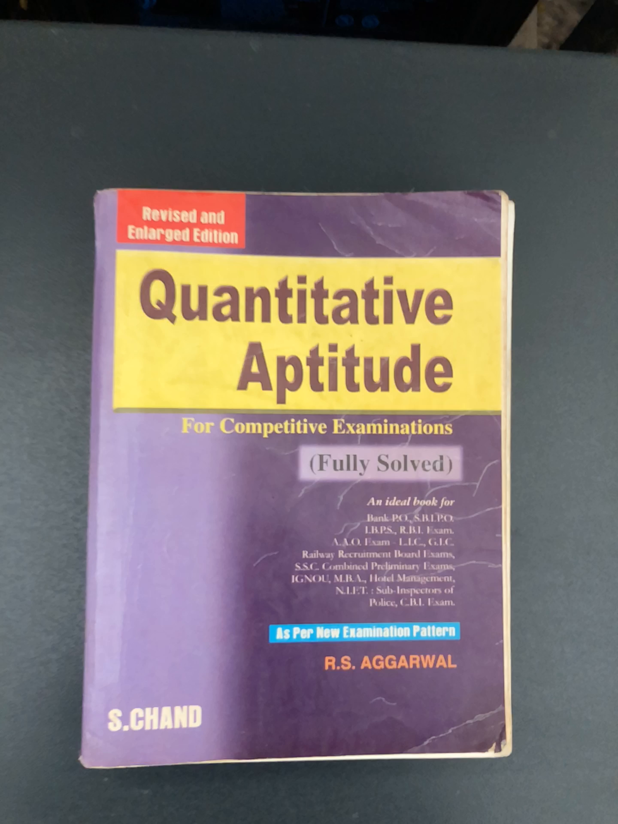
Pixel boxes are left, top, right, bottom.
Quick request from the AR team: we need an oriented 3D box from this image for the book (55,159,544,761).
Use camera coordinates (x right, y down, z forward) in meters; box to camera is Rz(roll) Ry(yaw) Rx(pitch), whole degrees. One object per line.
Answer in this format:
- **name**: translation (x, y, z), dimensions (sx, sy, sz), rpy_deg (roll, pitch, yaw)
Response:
- **book**: translation (-0.001, 0.018, 0.285), dimensions (0.180, 0.050, 0.220), rpy_deg (1, 86, -5)
